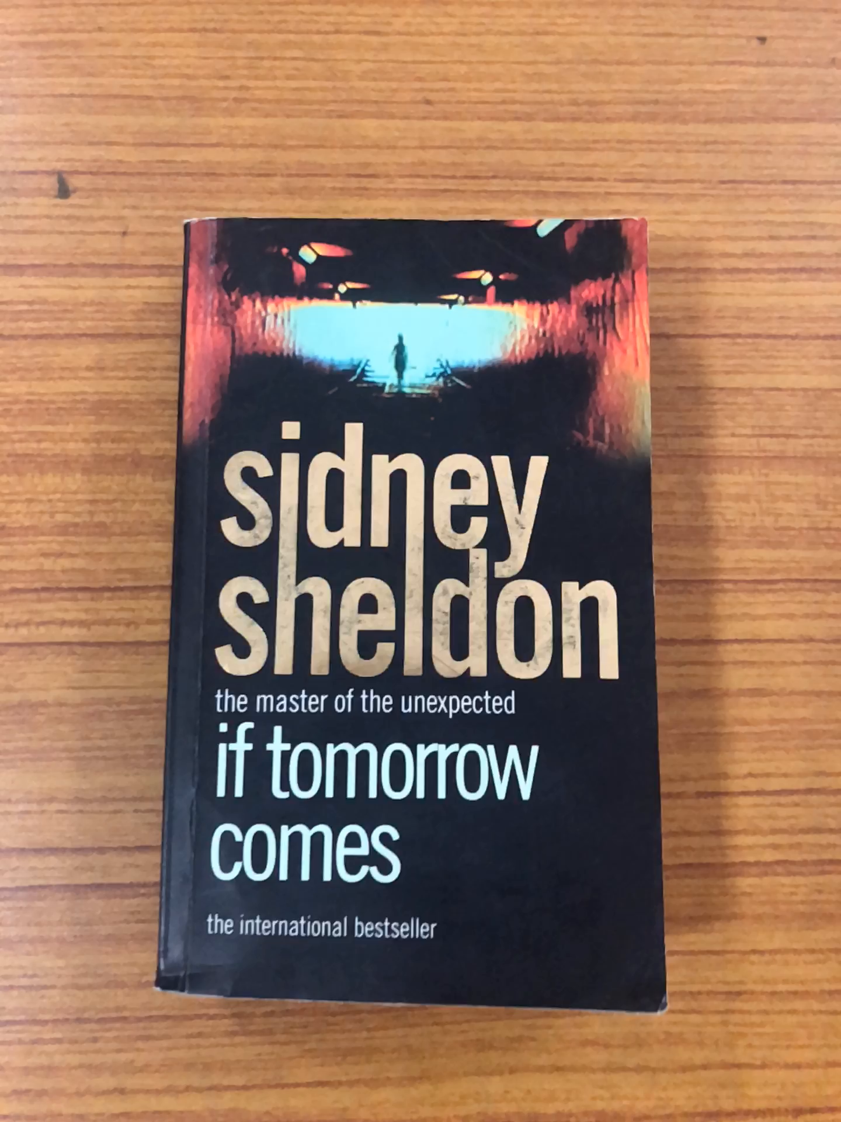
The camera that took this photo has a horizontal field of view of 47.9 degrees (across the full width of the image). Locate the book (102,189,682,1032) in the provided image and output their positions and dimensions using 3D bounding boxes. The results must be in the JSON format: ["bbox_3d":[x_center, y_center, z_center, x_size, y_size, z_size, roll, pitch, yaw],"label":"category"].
[{"bbox_3d":[-0.006,0.007,0.215,0.114,0.034,0.176,0,82,-2],"label":"book"}]
